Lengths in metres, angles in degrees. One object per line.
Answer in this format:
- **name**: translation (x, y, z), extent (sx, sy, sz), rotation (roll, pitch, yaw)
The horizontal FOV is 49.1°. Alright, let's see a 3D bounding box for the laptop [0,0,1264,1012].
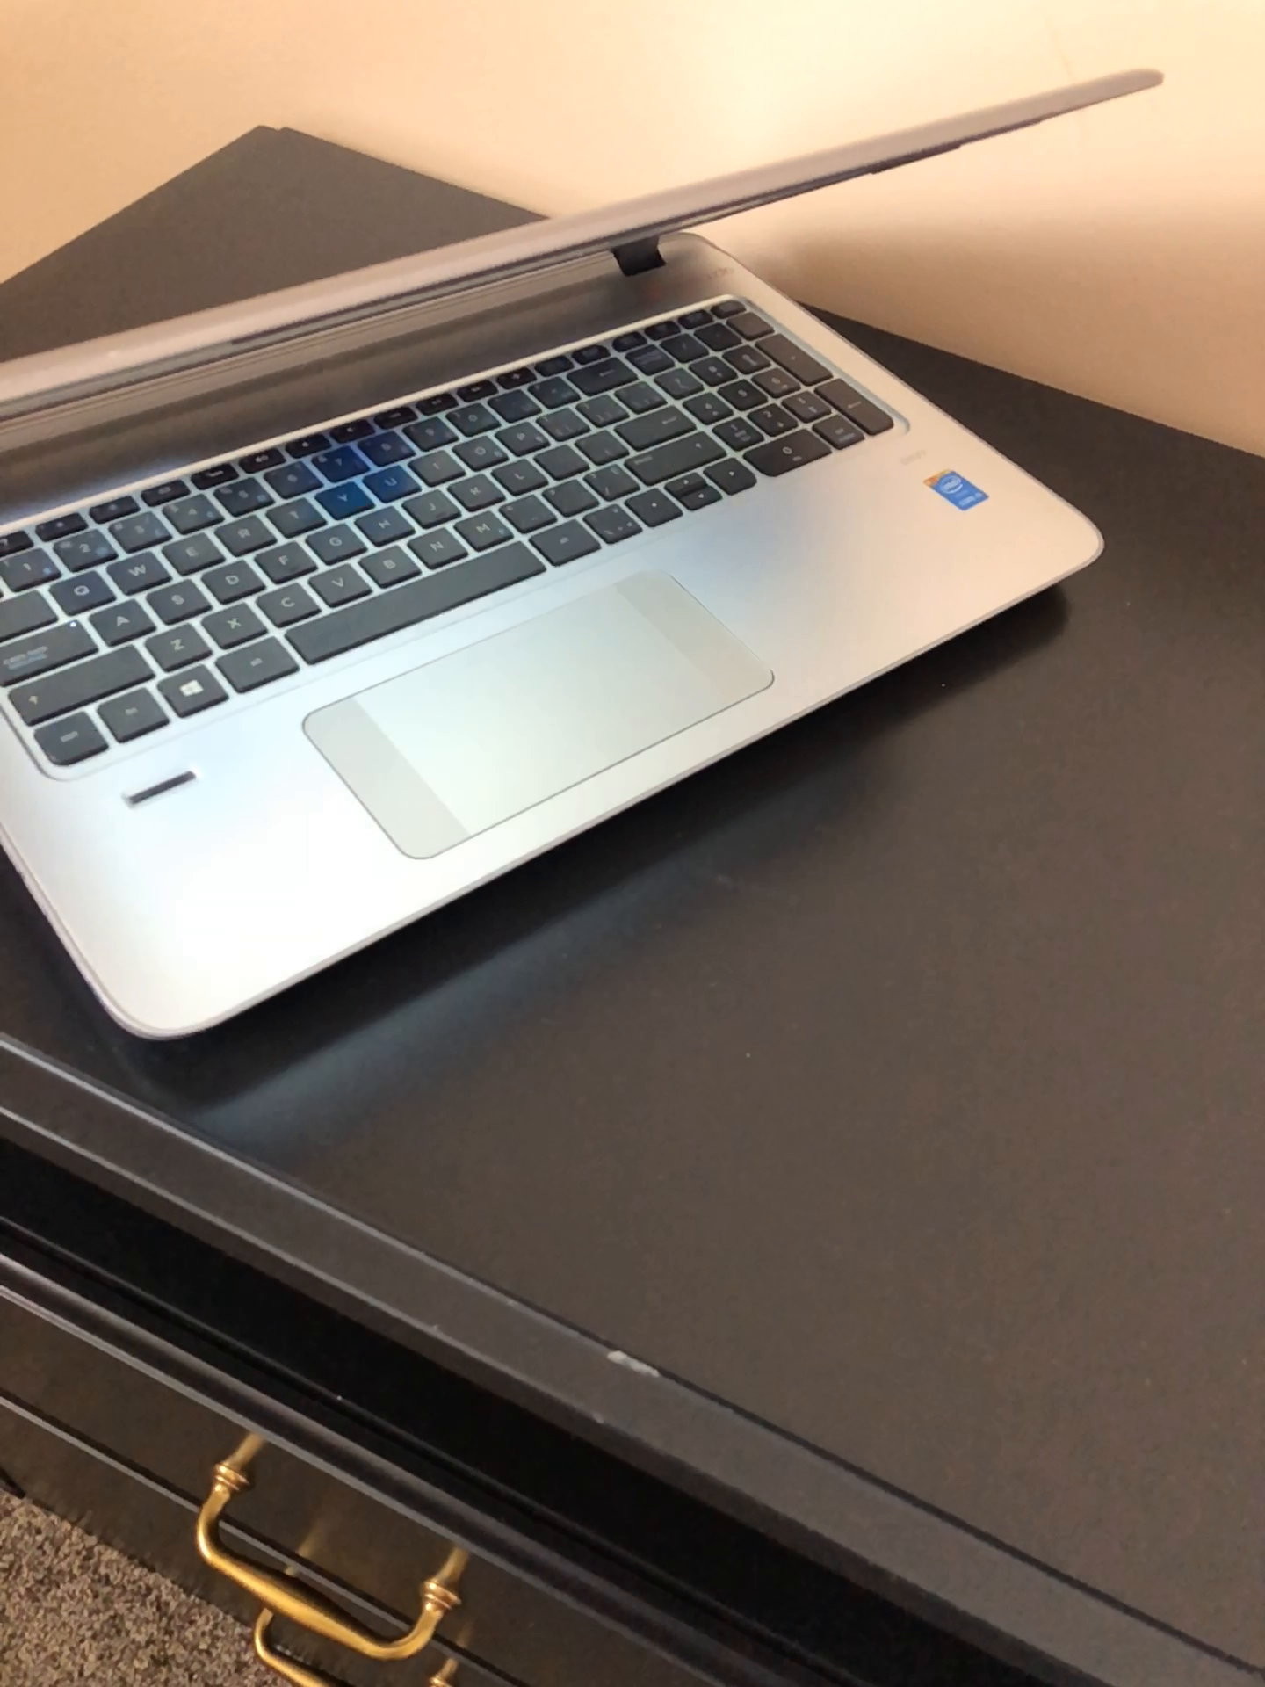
- **laptop**: translation (-0.036, -0.153, 0.412), extent (0.356, 0.153, 0.228), rotation (-28, 59, -27)
